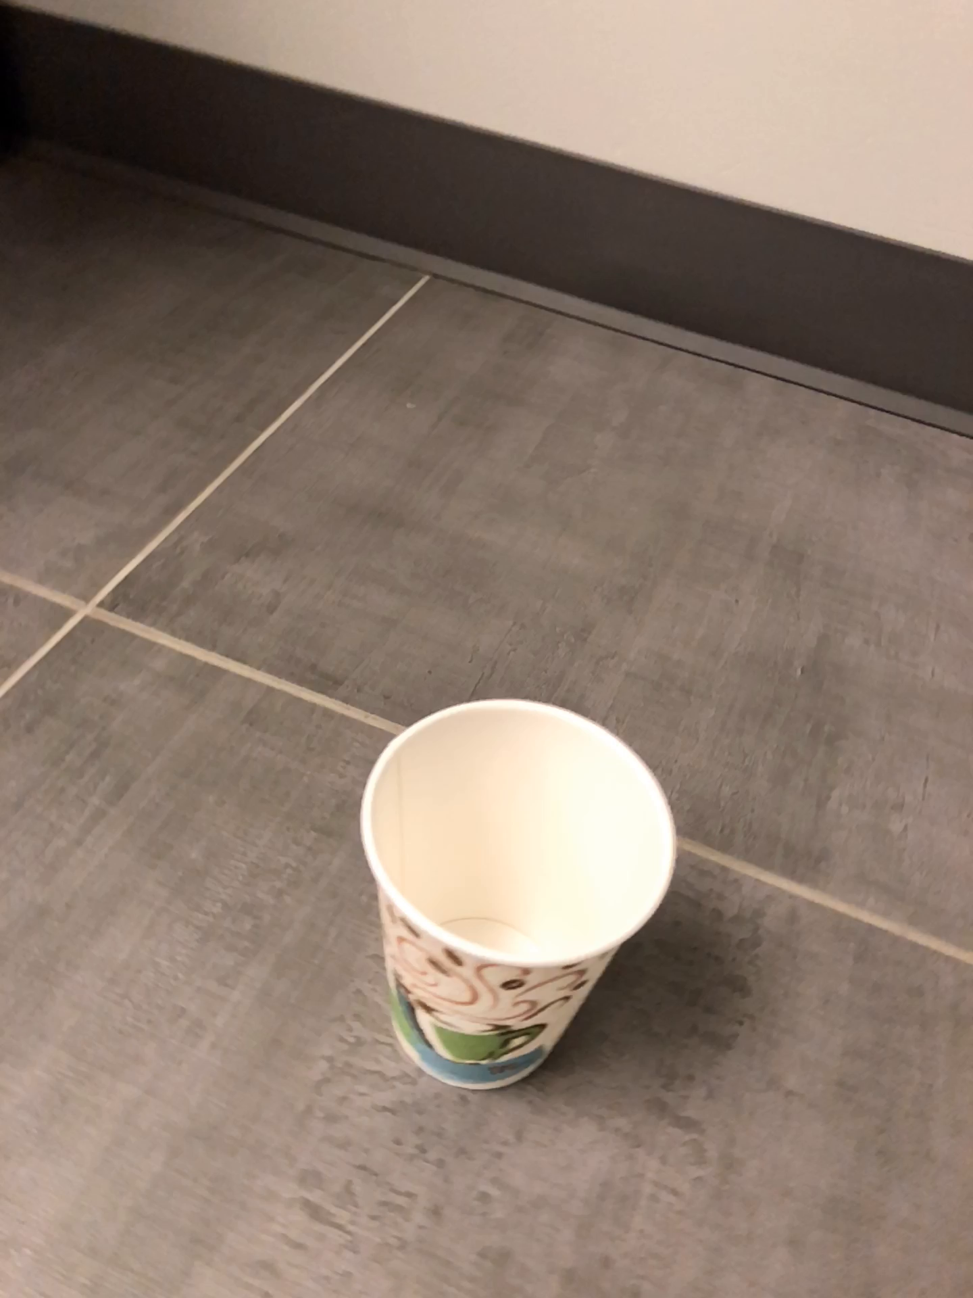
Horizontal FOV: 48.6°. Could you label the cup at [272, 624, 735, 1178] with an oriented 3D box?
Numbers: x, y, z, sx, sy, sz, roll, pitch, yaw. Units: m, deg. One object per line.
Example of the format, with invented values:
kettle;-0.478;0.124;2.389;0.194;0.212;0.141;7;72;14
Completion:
cup;0.003;0.075;0.333;0.090;0.100;0.100;29;47;18
